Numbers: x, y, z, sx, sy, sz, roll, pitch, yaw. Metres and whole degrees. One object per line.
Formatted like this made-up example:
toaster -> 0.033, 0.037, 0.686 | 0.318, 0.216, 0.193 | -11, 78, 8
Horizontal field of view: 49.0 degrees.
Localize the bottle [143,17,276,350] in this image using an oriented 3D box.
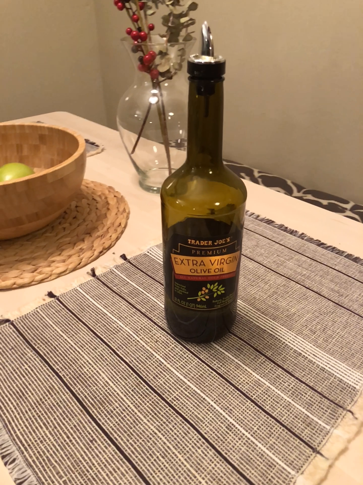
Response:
bottle -> 0.017, -0.042, 0.388 | 0.090, 0.304, 0.095 | 0, 32, 0
